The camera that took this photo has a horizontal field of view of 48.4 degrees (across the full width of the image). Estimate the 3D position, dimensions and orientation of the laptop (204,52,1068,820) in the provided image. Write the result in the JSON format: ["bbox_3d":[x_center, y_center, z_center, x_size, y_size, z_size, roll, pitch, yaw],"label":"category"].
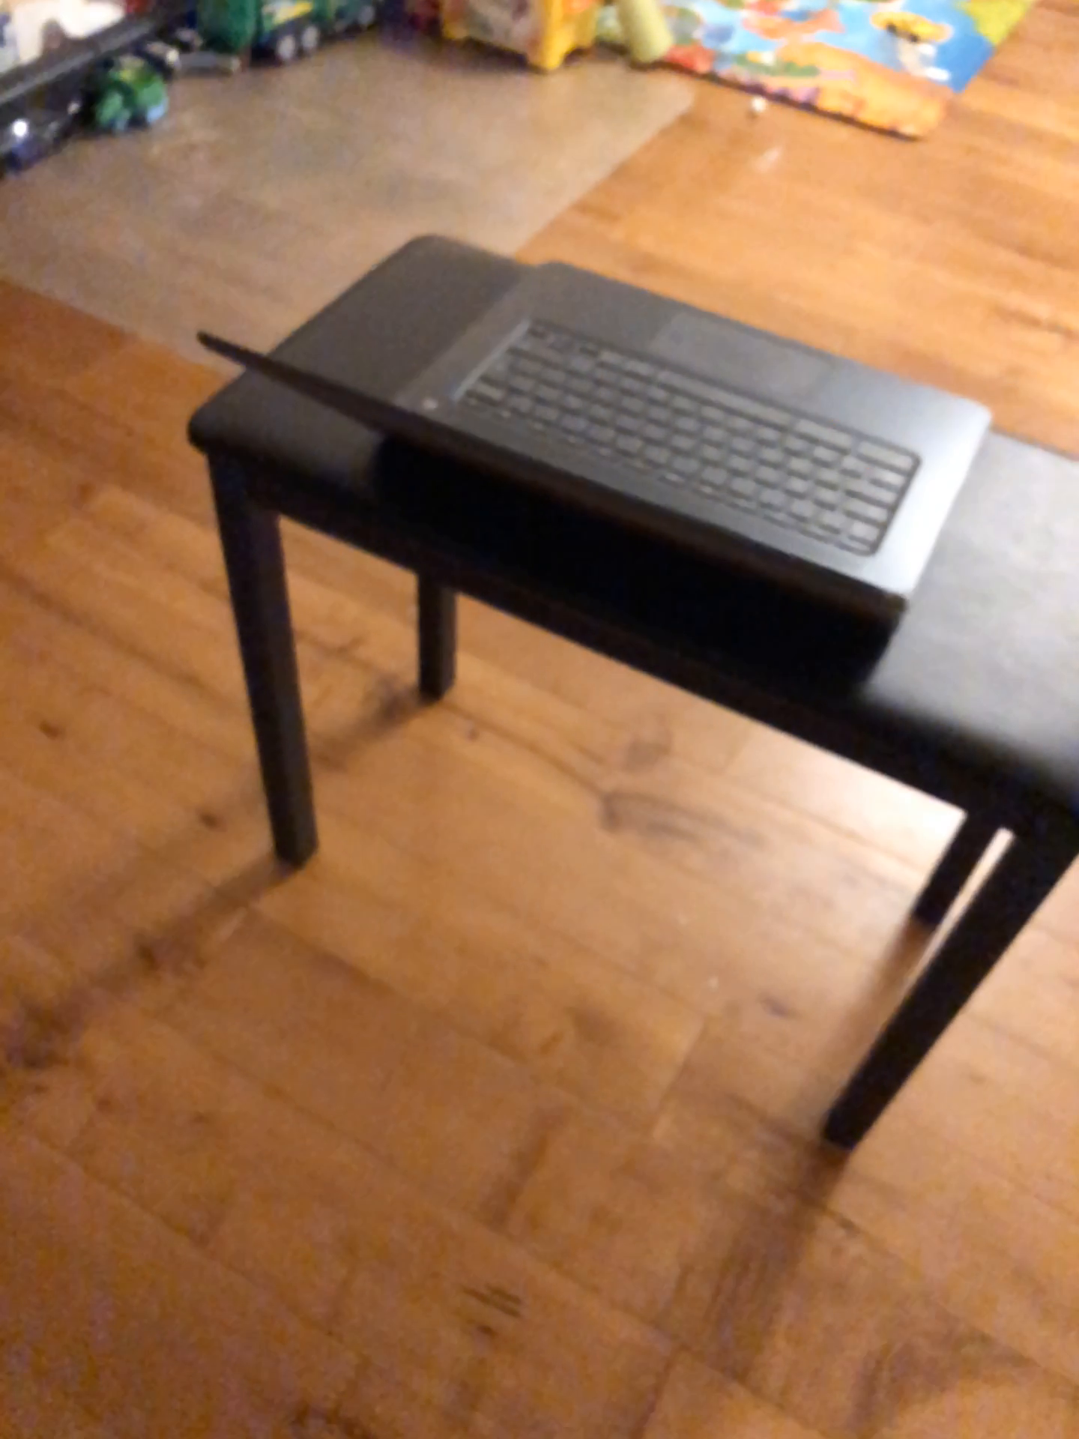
[{"bbox_3d":[0.068,-0.184,0.660,0.316,0.143,0.364,24,54,14],"label":"laptop"}]
